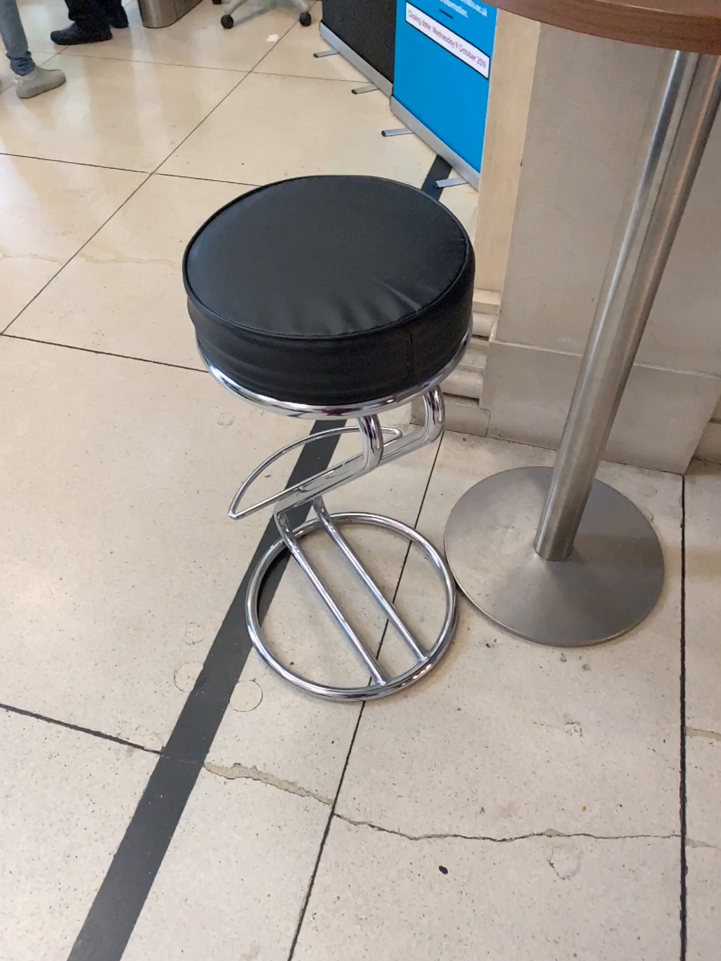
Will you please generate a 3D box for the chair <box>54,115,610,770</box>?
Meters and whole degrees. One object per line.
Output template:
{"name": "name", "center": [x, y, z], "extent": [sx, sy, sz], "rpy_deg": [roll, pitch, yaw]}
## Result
{"name": "chair", "center": [-0.042, -0.024, 1.180], "extent": [0.465, 0.813, 0.506], "rpy_deg": [-29, 54, -21]}
